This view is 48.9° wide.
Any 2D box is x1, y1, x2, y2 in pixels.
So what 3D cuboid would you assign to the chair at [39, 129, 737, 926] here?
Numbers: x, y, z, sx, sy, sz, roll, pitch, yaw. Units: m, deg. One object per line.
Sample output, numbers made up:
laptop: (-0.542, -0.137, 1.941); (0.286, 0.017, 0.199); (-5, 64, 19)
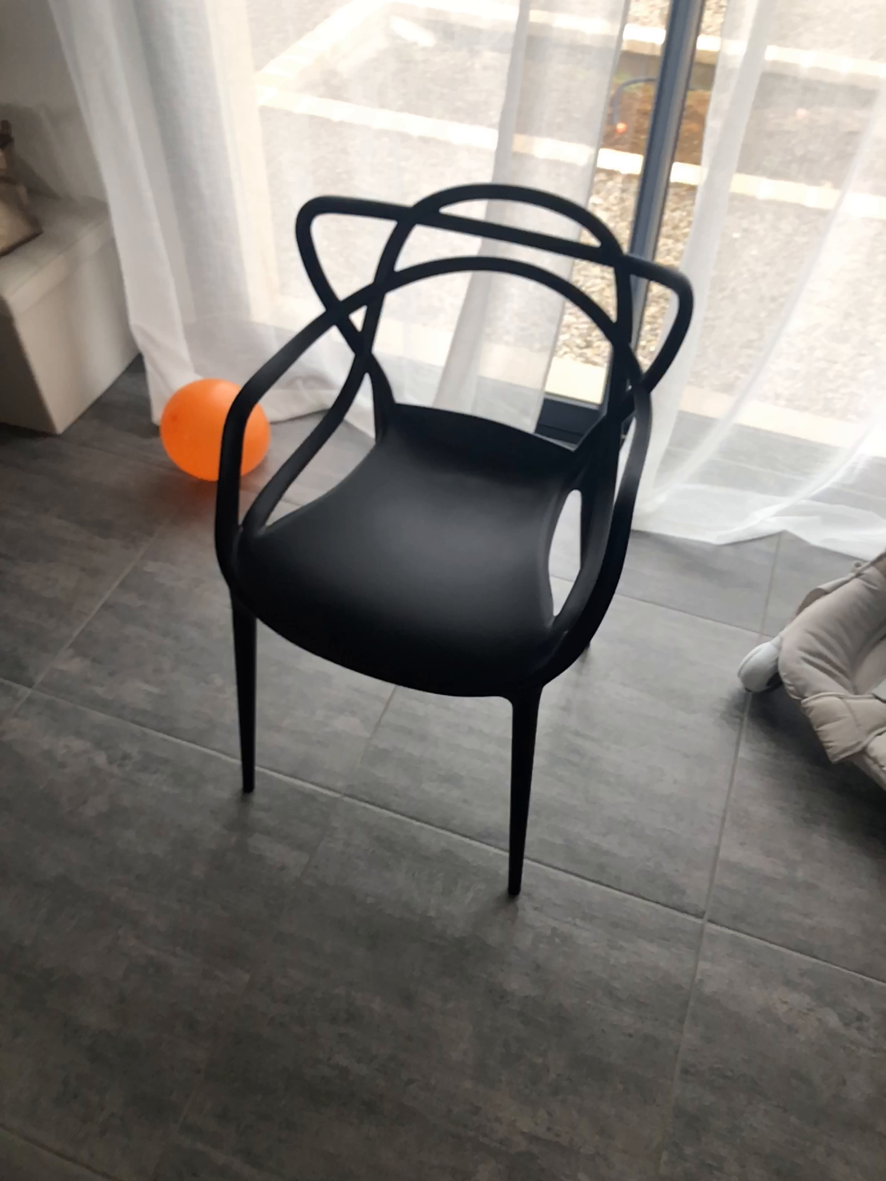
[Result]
chair: (-0.026, -0.069, 1.350); (0.562, 0.795, 0.589); (18, 50, 14)
